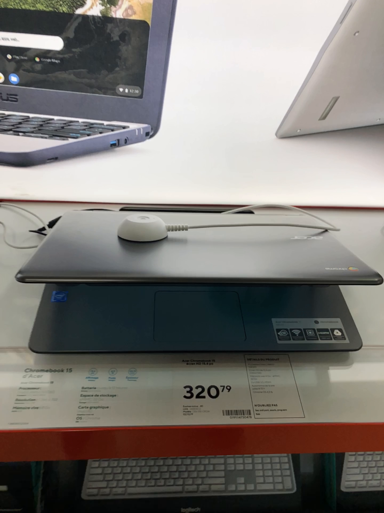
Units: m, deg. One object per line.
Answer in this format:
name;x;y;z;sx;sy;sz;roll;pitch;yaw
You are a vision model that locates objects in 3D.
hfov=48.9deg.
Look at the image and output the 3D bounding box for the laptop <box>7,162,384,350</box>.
laptop;0.001;-0.013;0.530;0.369;0.088;0.249;1;40;-4
